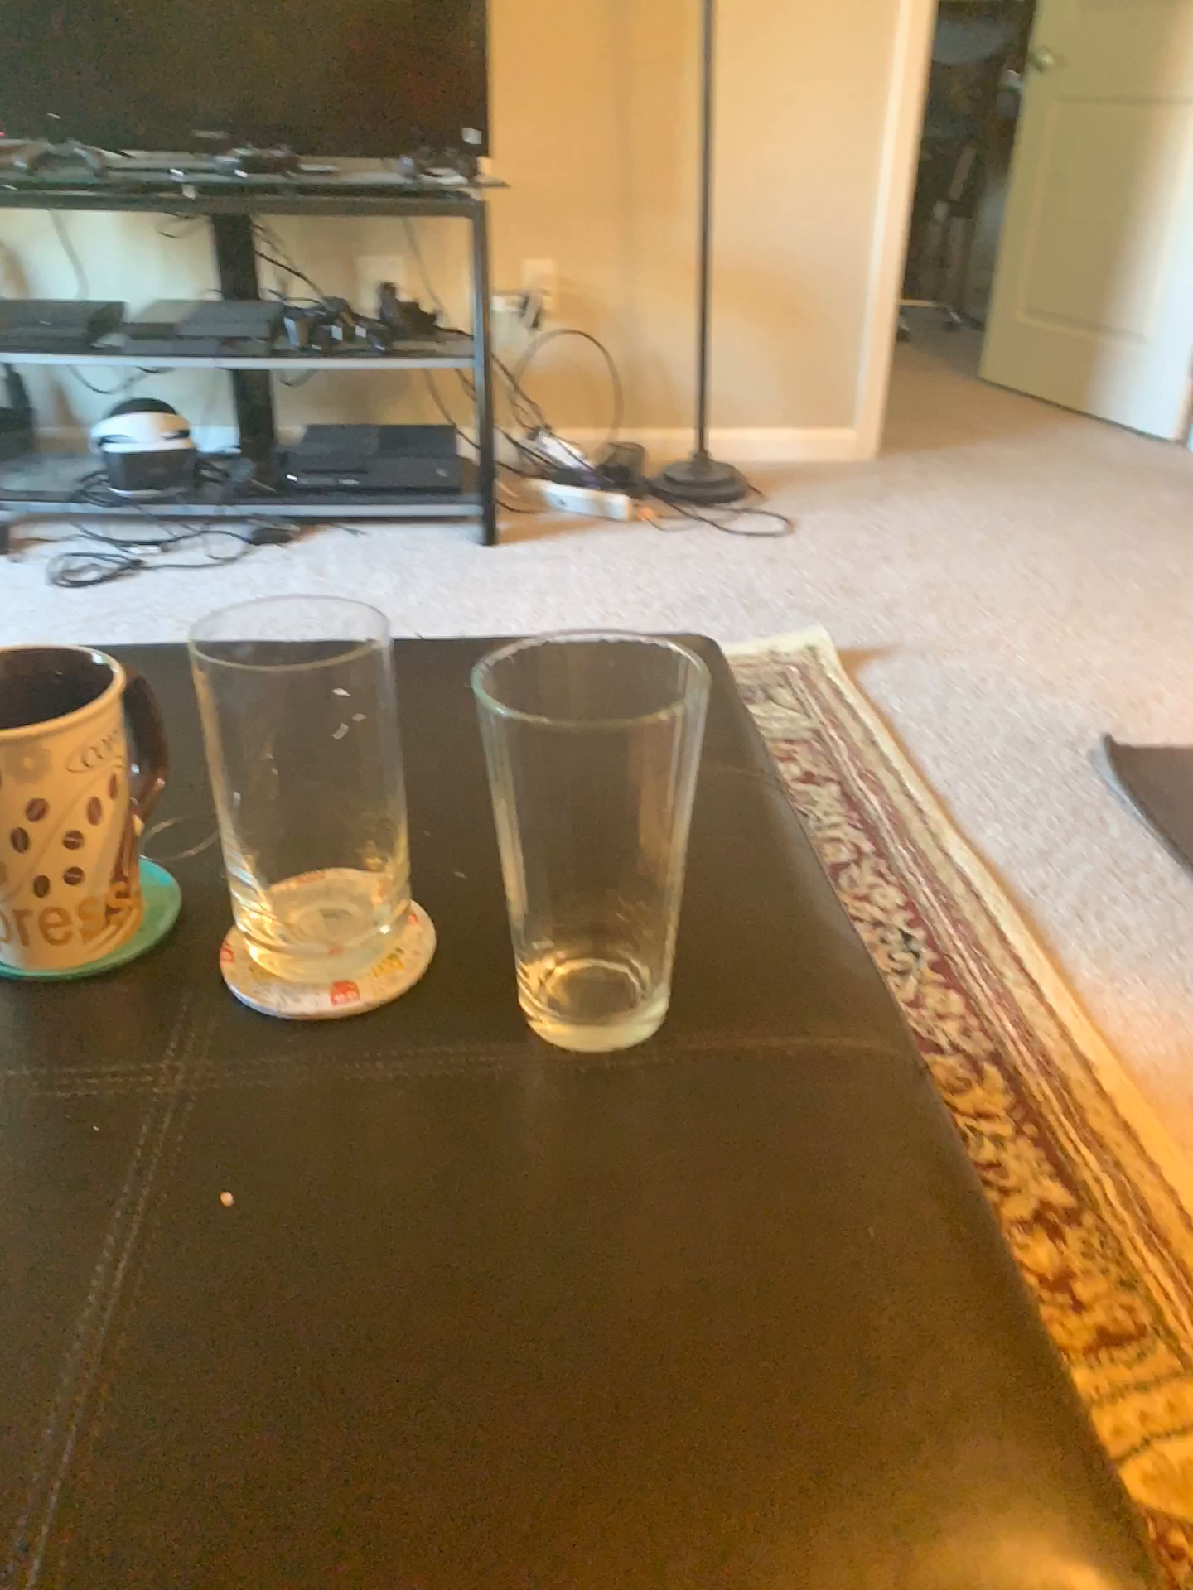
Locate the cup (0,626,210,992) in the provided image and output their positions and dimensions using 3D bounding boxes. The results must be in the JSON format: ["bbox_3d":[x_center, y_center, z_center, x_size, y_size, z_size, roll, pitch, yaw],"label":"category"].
[{"bbox_3d":[-0.224,0.002,0.482,0.090,0.099,0.090,1,30,0],"label":"cup"}]

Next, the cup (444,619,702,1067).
[{"bbox_3d":[-0.006,0.017,0.452,0.080,0.139,0.080,1,29,0],"label":"cup"}]

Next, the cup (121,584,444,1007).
[{"bbox_3d":[-0.111,-0.001,0.463,0.080,0.129,0.080,1,29,0],"label":"cup"}]
